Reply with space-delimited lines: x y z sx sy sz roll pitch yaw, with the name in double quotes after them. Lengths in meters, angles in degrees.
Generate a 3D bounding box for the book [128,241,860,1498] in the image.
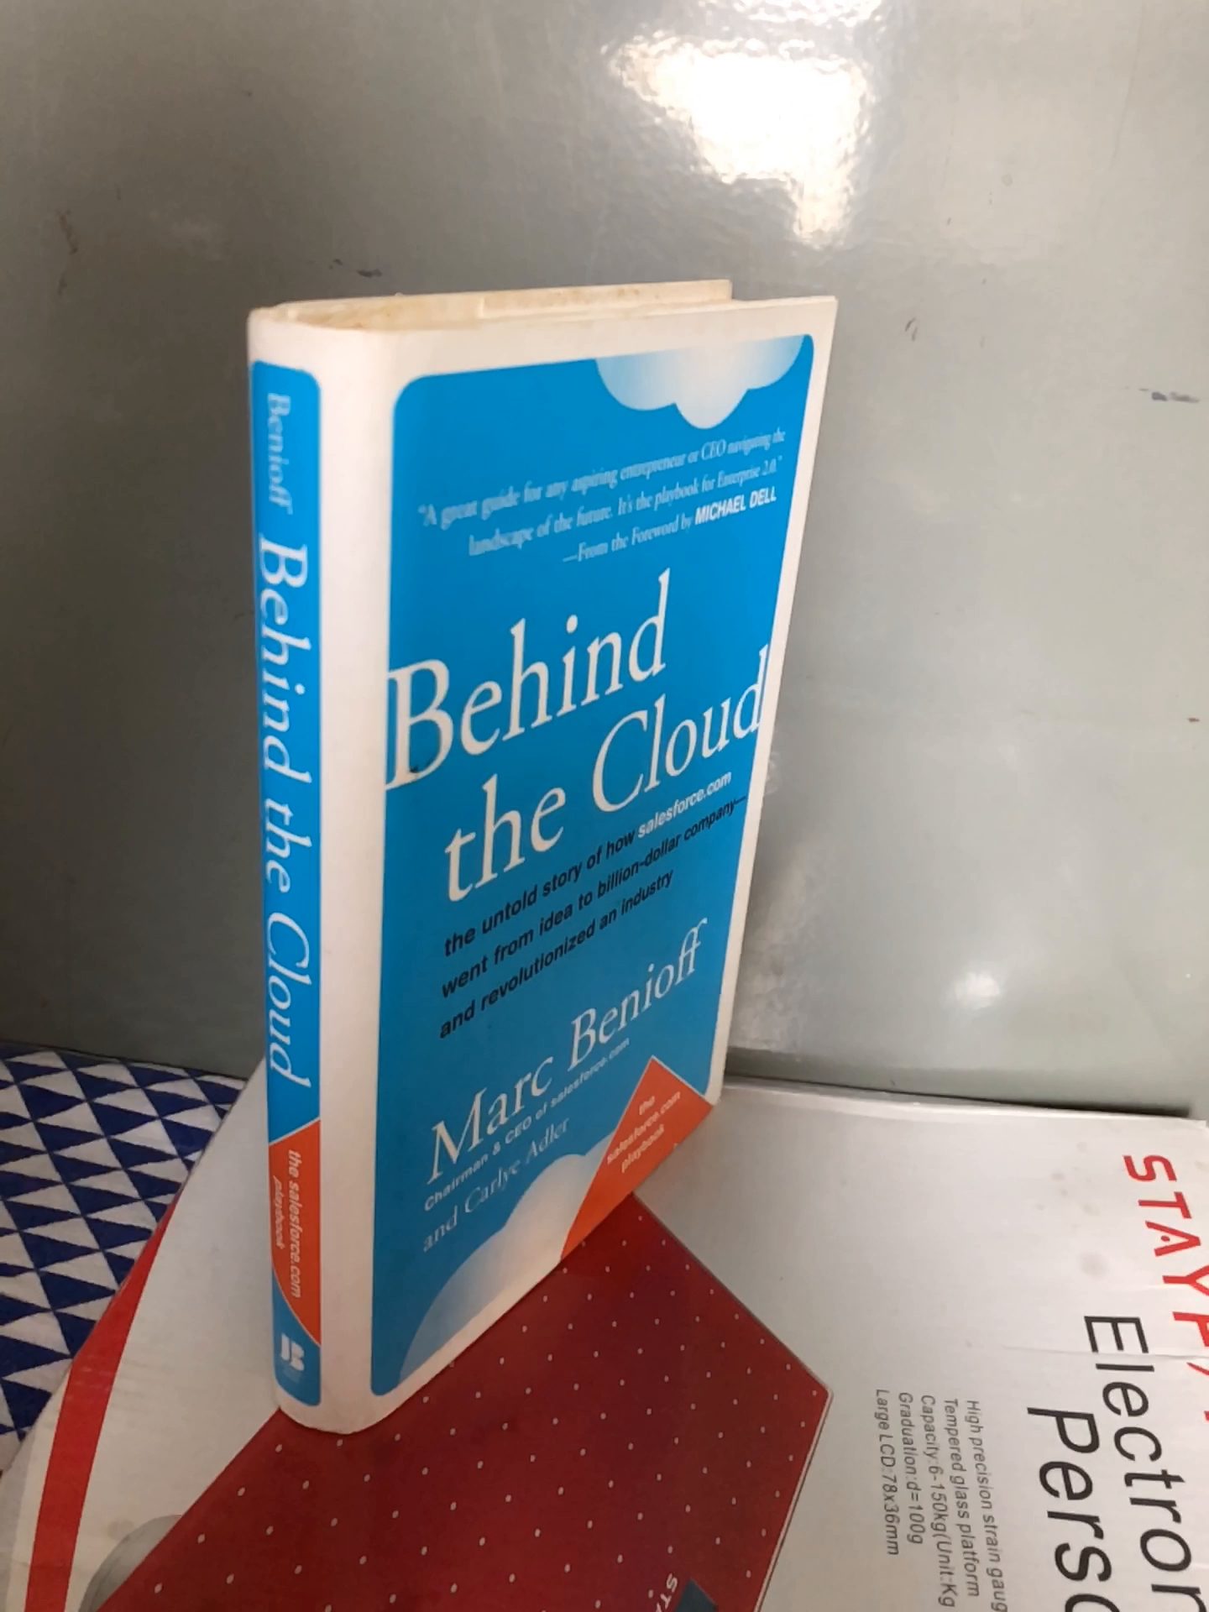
-0.014 0.001 0.318 0.040 0.239 0.191 18 26 29 "book"
